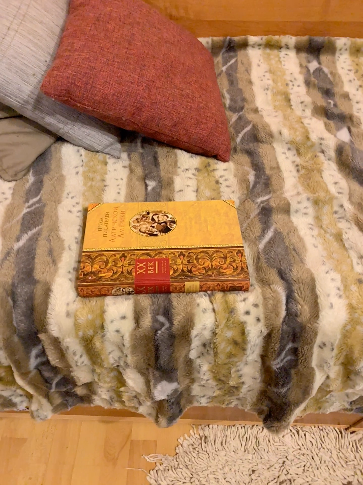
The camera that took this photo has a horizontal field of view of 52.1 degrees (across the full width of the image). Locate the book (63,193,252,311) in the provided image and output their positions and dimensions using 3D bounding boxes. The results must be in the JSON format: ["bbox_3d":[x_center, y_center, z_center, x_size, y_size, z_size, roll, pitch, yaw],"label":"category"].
[{"bbox_3d":[-0.038,0.009,0.608,0.270,0.060,0.181,-3,52,-1],"label":"book"}]
